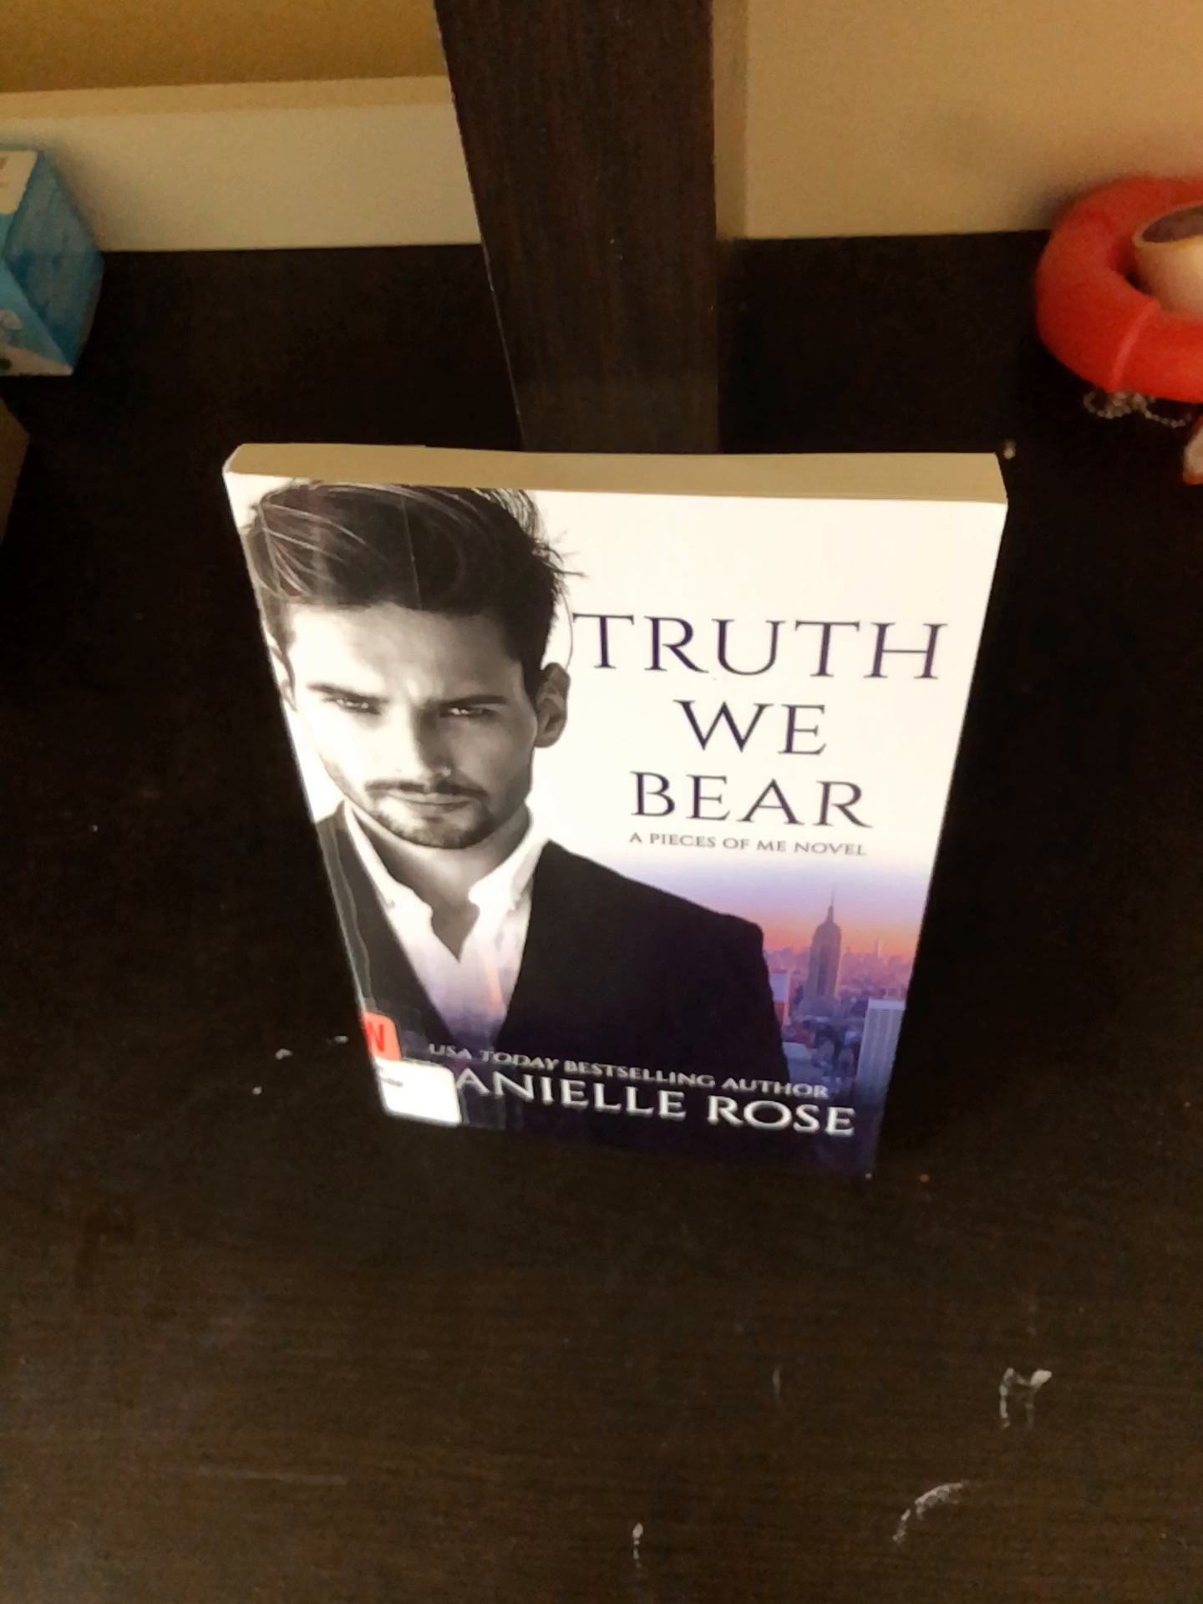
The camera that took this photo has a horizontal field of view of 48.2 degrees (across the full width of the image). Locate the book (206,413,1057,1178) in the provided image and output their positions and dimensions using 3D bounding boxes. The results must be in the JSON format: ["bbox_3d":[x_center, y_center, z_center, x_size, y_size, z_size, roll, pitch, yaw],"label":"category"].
[{"bbox_3d":[0.006,0.016,0.320,0.150,0.220,0.020,4,45,6],"label":"book"}]
